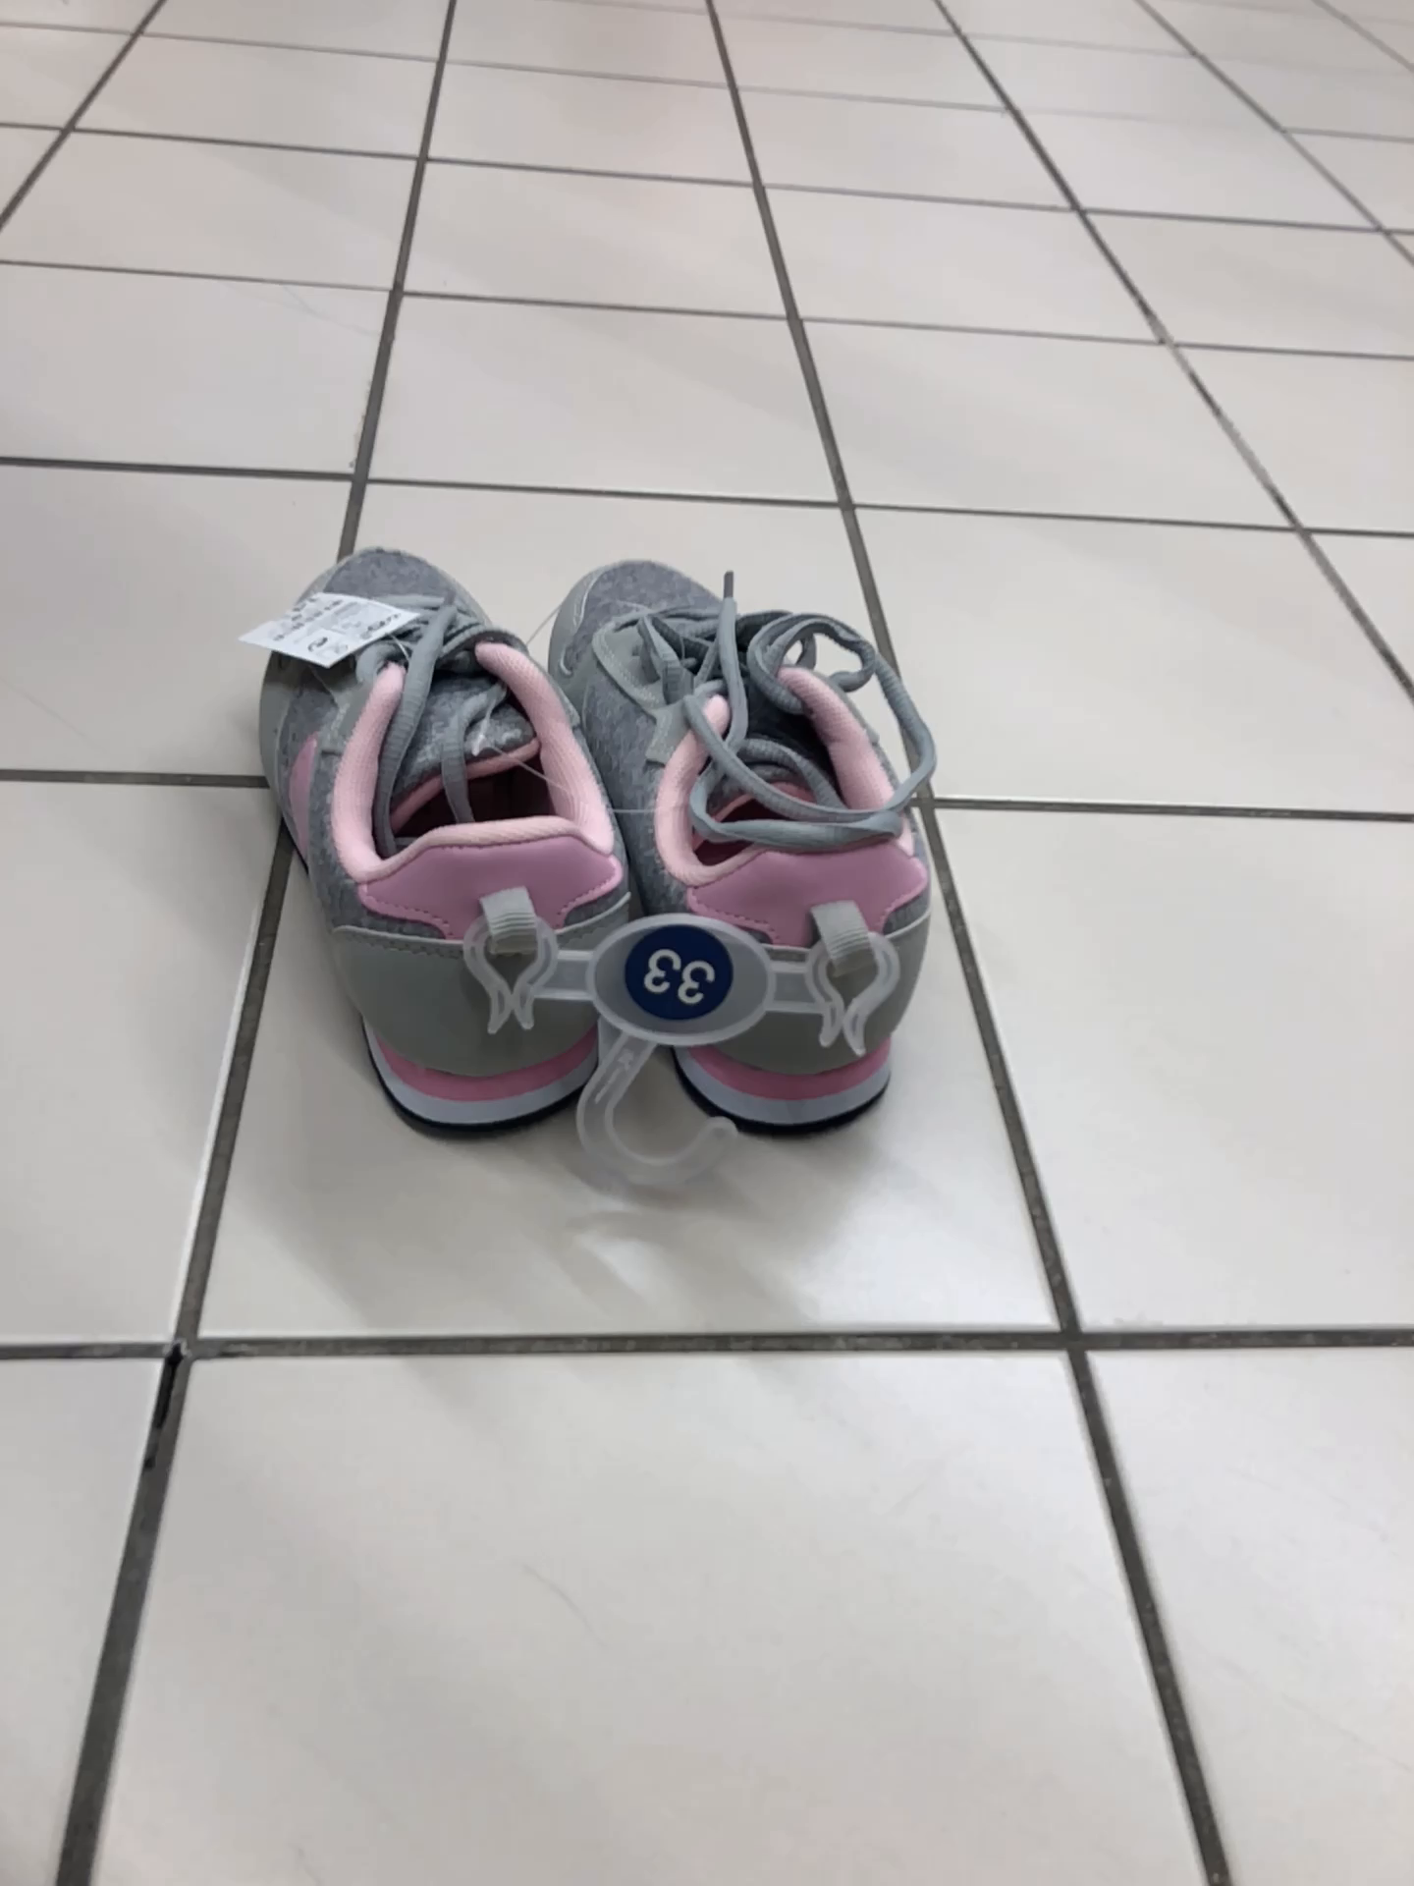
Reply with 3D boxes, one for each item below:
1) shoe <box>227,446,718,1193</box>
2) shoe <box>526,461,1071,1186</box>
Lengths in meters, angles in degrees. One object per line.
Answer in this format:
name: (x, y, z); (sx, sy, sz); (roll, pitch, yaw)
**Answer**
shoe: (-0.074, -0.048, 0.428); (0.082, 0.083, 0.215); (-9, 45, -17)
shoe: (0.010, -0.047, 0.439); (0.082, 0.083, 0.215); (-7, 44, -15)
